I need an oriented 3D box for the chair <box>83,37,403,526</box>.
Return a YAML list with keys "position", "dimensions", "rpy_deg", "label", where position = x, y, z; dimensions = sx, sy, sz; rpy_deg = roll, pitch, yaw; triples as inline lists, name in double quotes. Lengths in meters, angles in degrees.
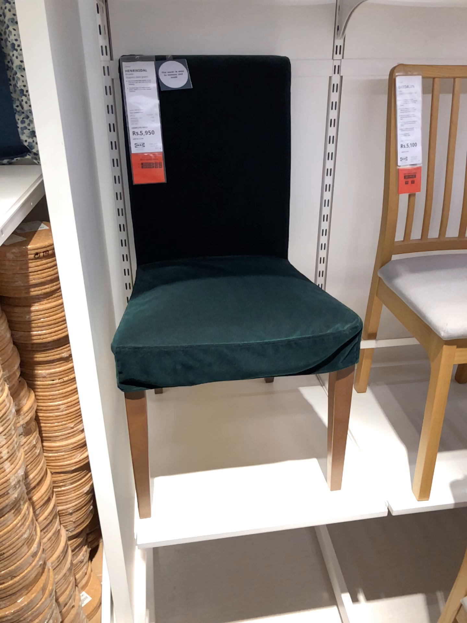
- position: [-0.019, -0.089, 1.160]
  dimensions: [0.470, 0.914, 0.513]
  rpy_deg: [-5, 26, -10]
  label: "chair"
